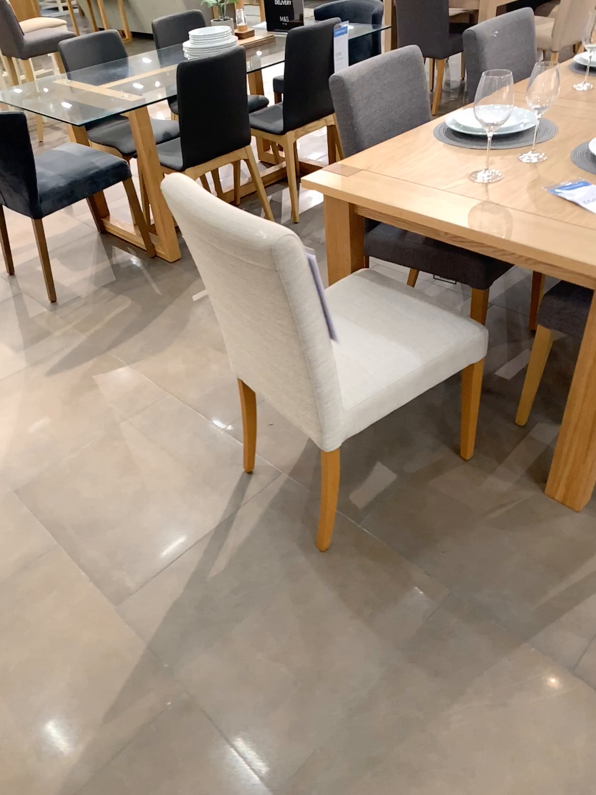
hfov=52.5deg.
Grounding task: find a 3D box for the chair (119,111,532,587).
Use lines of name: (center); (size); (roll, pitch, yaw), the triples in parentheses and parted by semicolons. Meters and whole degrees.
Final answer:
chair: (0.072, -0.141, 1.484); (0.644, 0.838, 0.540); (-27, 43, -25)
